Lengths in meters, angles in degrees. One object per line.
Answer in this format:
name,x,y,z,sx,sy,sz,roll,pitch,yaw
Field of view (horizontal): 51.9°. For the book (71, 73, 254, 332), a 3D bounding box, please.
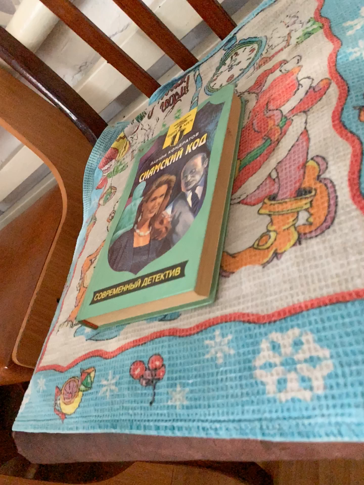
book,-0.013,-0.033,0.310,0.141,0.023,0.201,-22,44,42
